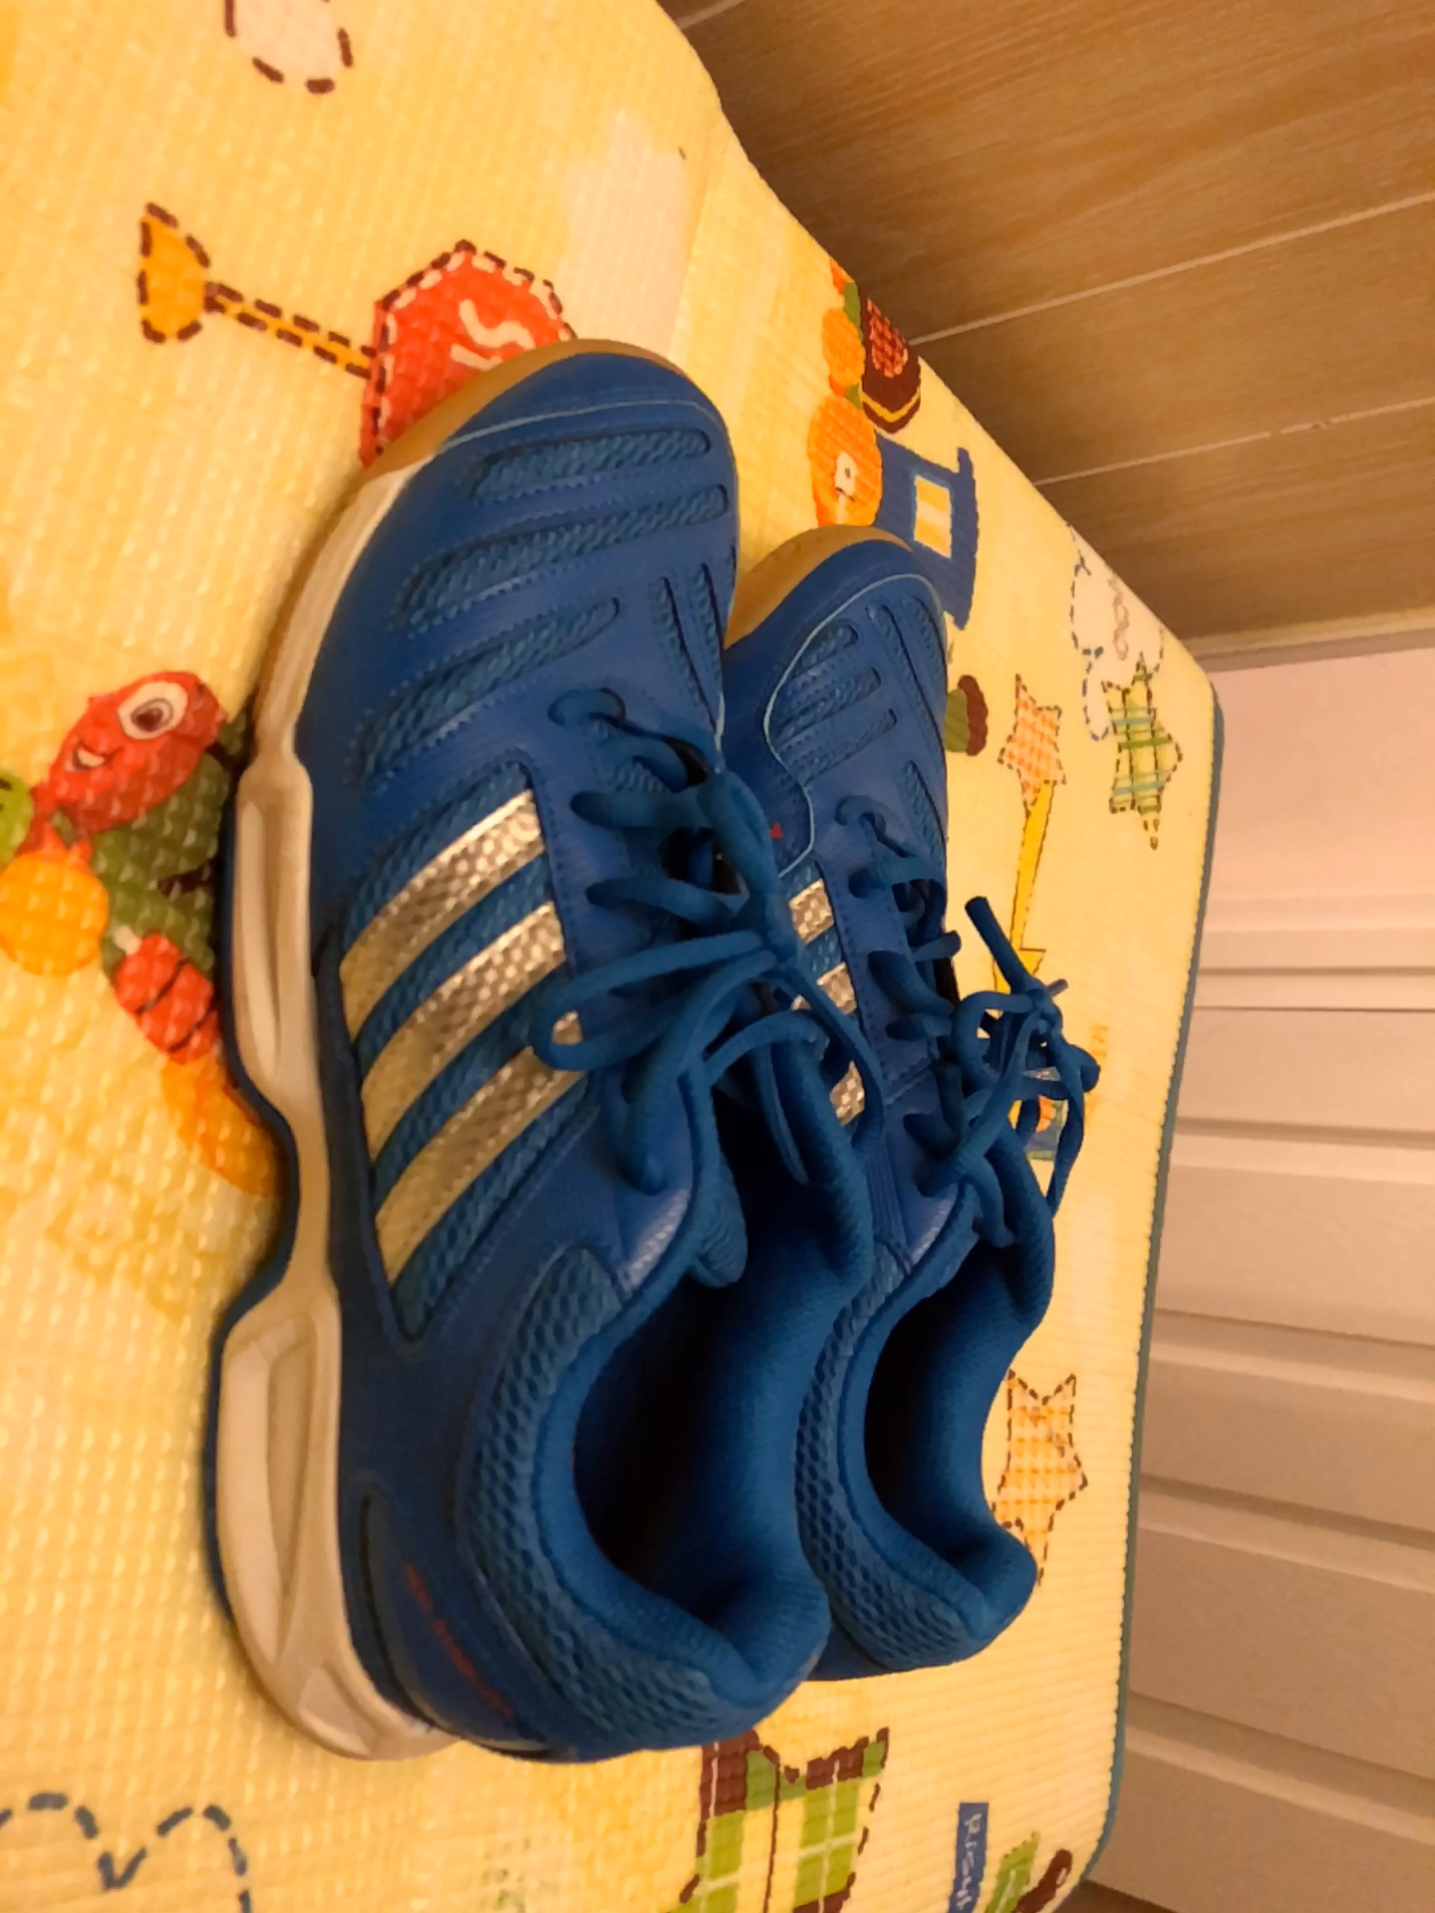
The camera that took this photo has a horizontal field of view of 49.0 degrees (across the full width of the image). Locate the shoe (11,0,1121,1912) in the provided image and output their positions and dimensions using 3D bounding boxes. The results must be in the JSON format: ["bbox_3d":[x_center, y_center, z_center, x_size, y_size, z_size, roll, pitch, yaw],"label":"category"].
[{"bbox_3d":[-0.021,0.000,0.308,0.111,0.139,0.290,19,75,-50],"label":"shoe"}]

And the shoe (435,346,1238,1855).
[{"bbox_3d":[0.037,0.027,0.379,0.111,0.119,0.290,20,74,-50],"label":"shoe"}]
